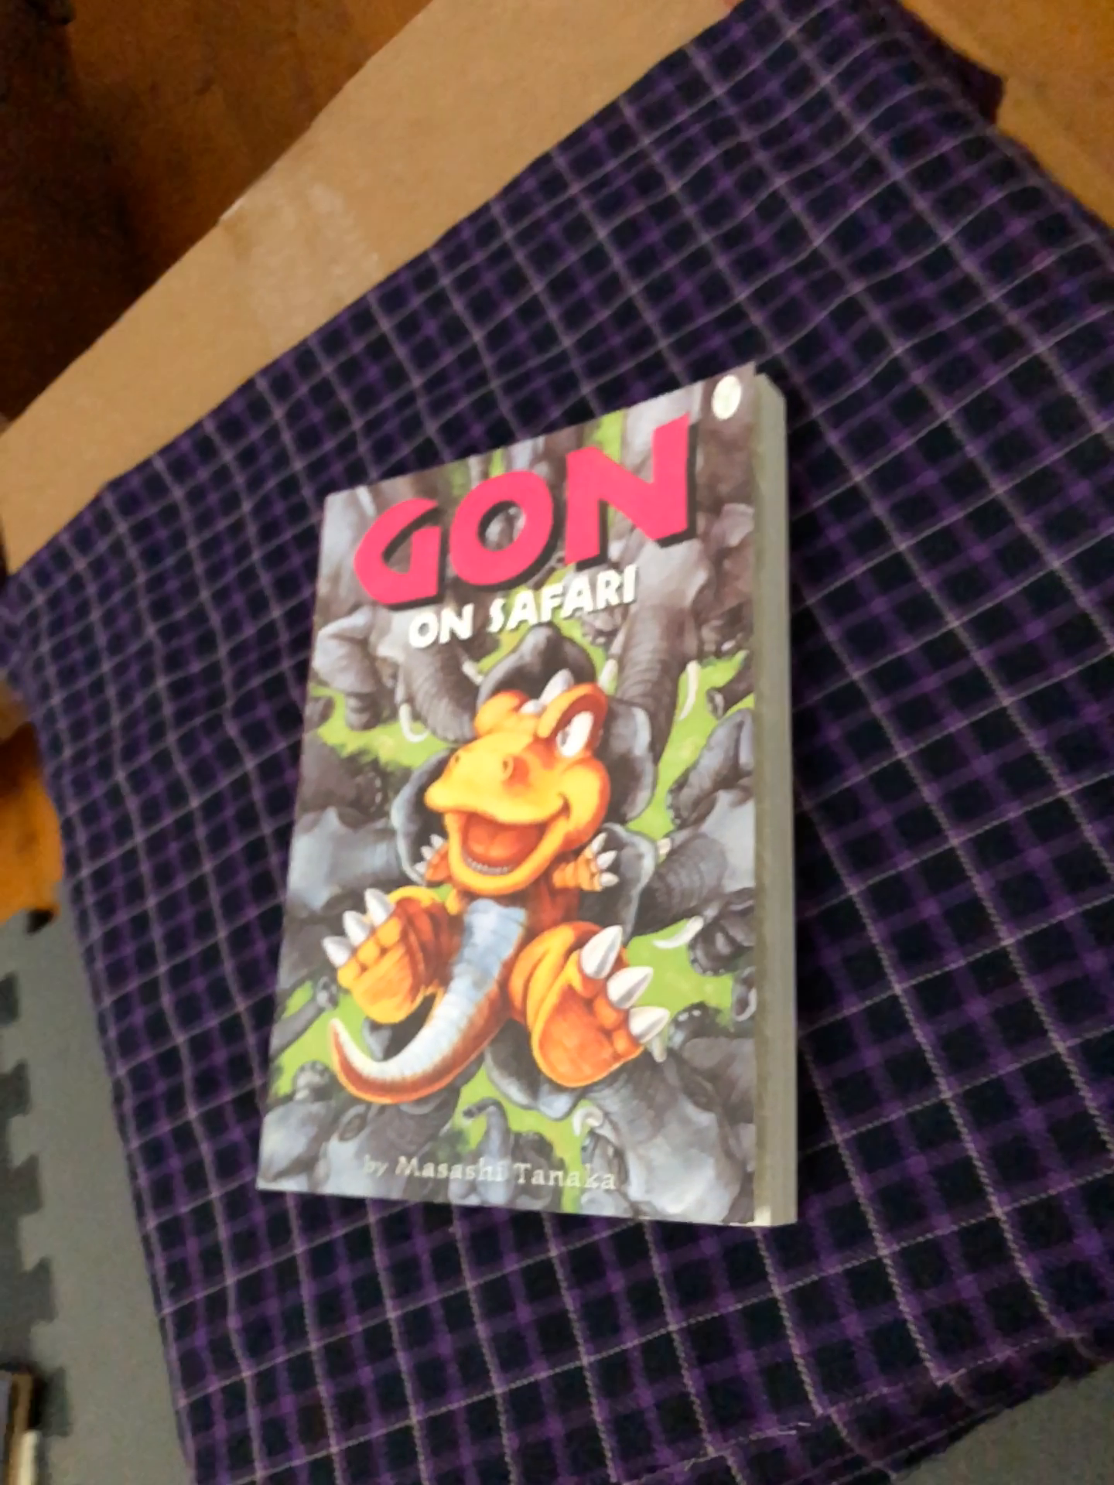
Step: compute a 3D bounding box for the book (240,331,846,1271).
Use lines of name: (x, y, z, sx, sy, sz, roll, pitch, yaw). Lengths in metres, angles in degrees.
book: (-0.006, 0.012, 0.315, 0.150, 0.020, 0.210, -8, 70, 30)
